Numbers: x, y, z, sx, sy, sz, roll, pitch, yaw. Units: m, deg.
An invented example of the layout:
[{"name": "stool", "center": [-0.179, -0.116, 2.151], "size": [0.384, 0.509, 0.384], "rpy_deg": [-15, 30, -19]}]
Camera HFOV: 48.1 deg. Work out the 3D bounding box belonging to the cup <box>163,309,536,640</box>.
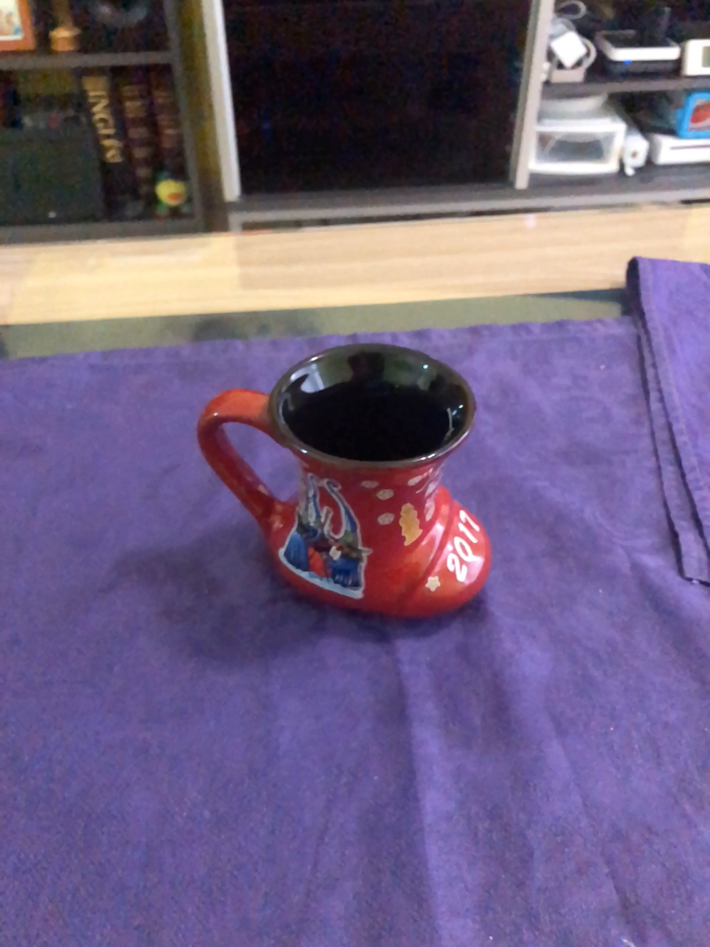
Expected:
[{"name": "cup", "center": [0.002, -0.001, 0.315], "size": [0.120, 0.090, 0.070], "rpy_deg": [9, 43, 11]}]
